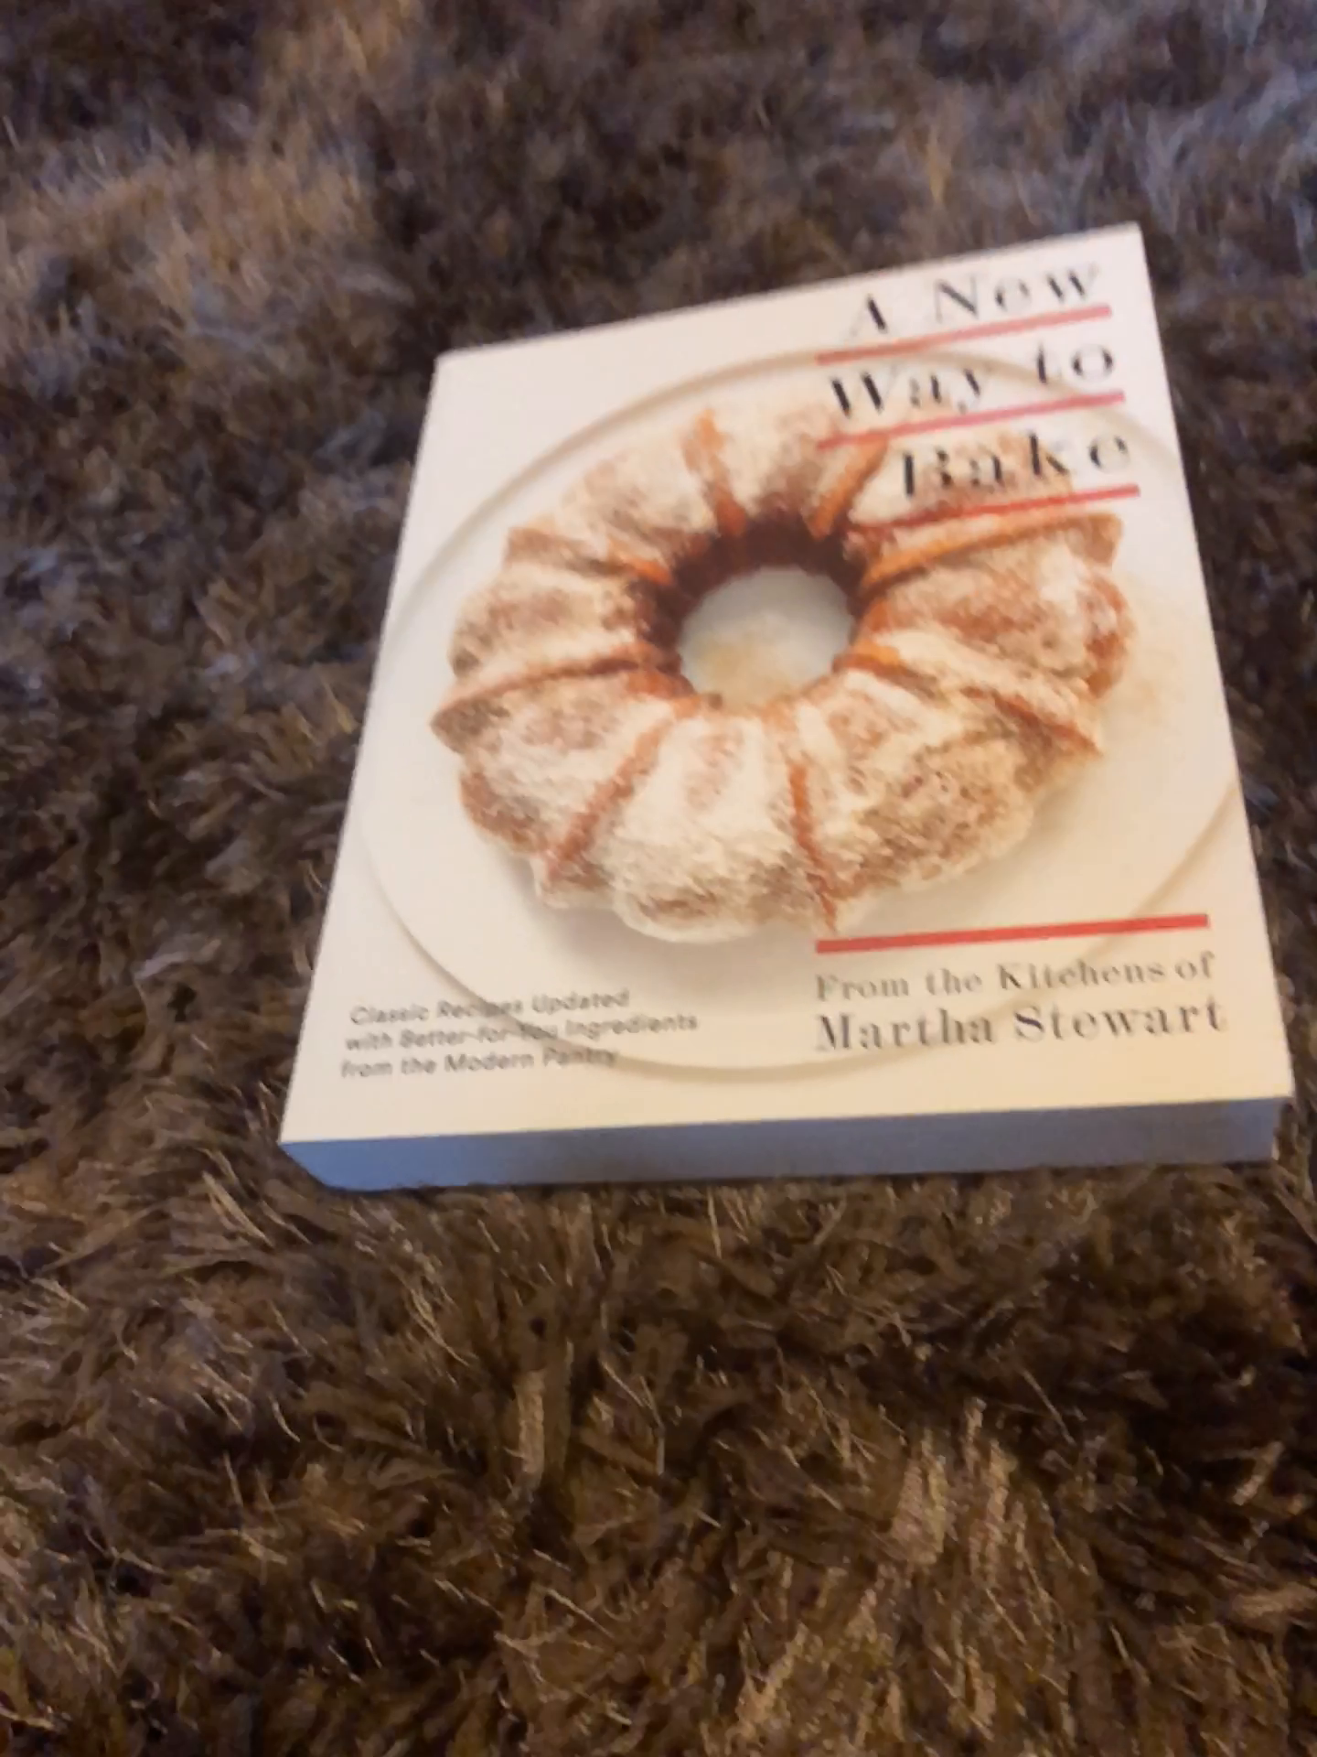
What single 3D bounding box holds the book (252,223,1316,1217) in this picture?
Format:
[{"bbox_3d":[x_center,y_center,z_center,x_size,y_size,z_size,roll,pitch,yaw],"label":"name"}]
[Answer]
[{"bbox_3d":[0.025,-0.044,0.338,0.192,0.040,0.229,-5,57,13],"label":"book"}]
